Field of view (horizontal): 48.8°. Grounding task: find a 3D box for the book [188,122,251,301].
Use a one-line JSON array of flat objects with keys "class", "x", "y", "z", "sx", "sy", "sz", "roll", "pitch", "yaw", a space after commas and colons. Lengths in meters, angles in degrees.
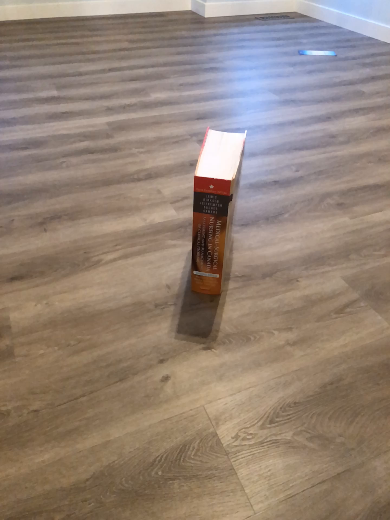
[{"class": "book", "x": 0.052, "y": -0.105, "z": 0.921, "sx": 0.087, "sy": 0.290, "sz": 0.241, "roll": 7, "pitch": 39, "yaw": 5}]
